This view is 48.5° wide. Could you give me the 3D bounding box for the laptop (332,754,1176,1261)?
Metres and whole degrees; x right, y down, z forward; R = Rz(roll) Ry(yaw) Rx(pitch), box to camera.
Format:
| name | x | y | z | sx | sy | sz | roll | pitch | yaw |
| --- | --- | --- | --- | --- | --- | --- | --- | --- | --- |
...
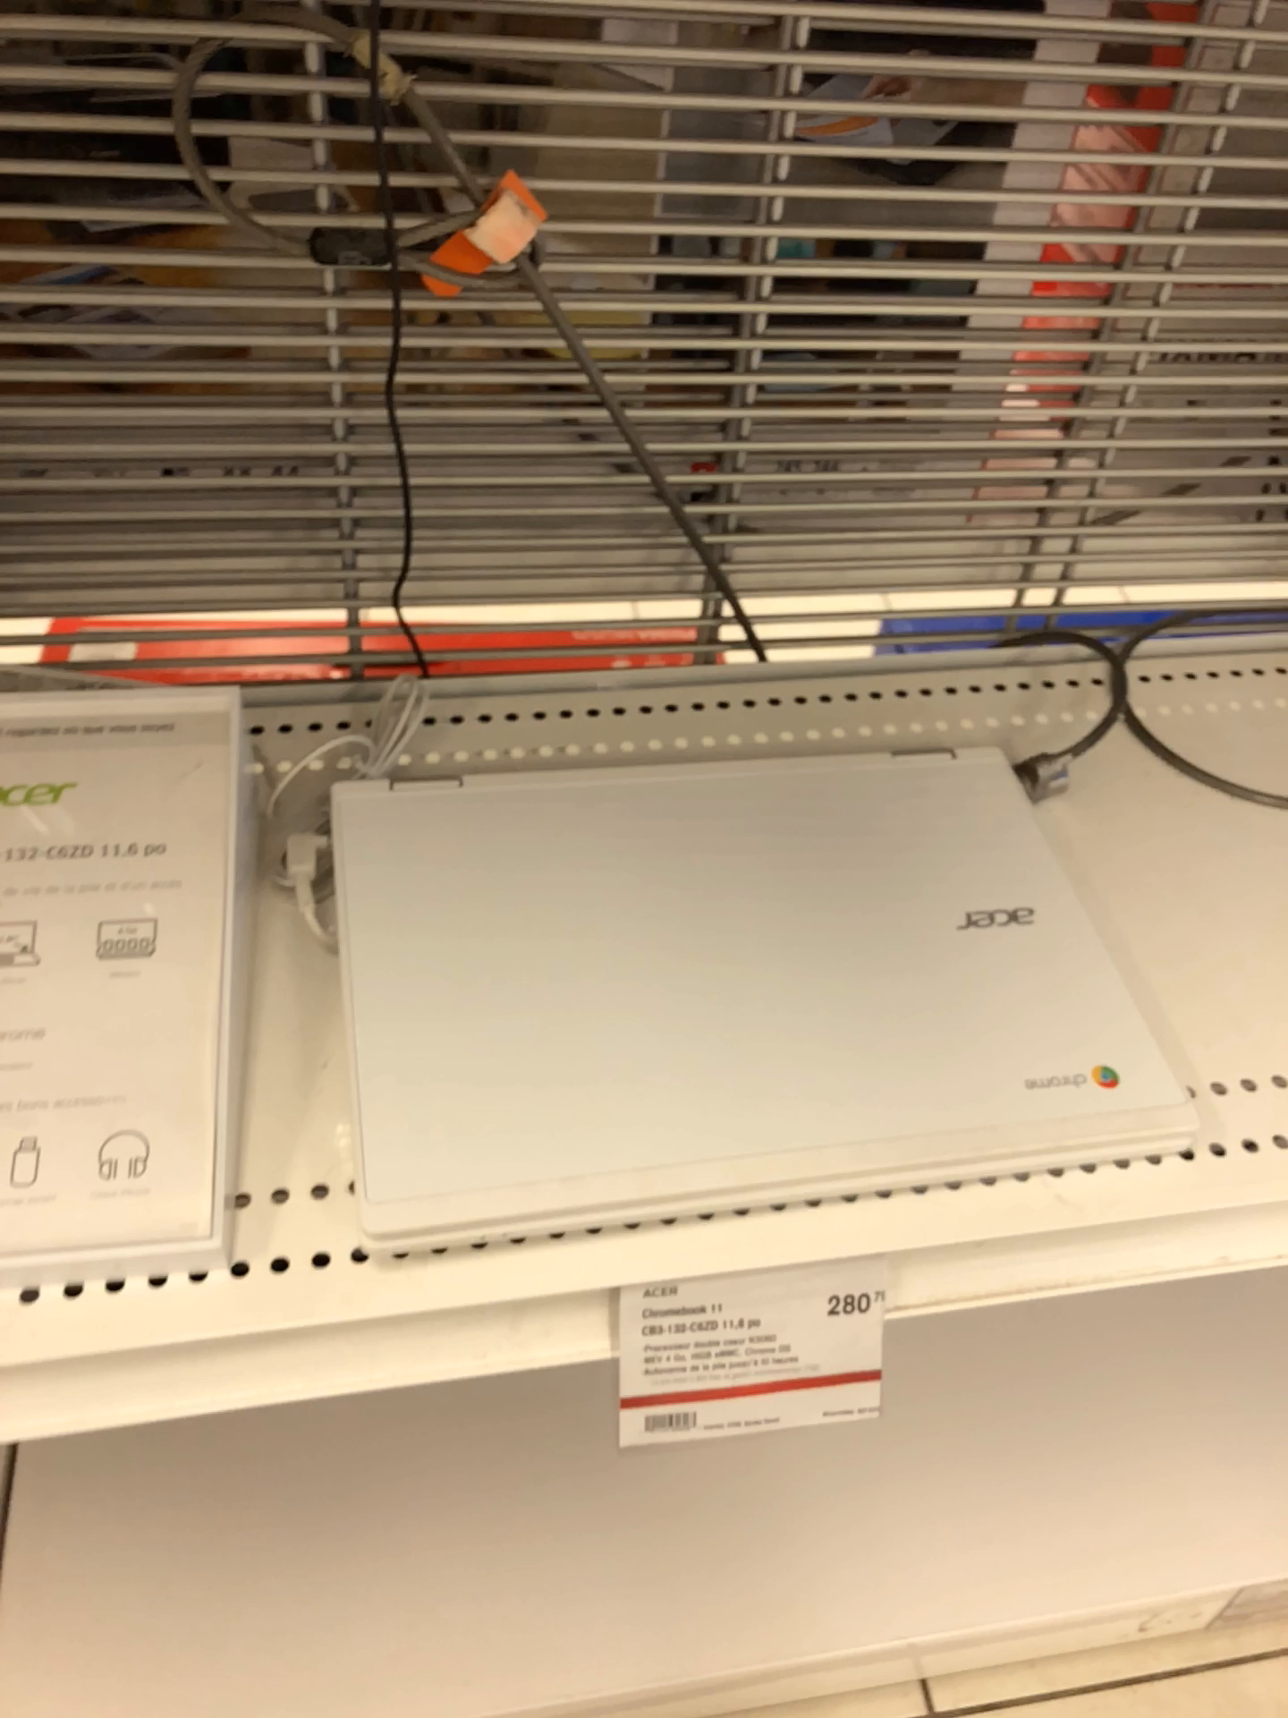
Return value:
| name | x | y | z | sx | sy | sz | roll | pitch | yaw |
| --- | --- | --- | --- | --- | --- | --- | --- | --- | --- |
| laptop | 0.033 | 0.044 | 0.550 | 0.286 | 0.024 | 0.184 | -4 | 53 | -11 |
